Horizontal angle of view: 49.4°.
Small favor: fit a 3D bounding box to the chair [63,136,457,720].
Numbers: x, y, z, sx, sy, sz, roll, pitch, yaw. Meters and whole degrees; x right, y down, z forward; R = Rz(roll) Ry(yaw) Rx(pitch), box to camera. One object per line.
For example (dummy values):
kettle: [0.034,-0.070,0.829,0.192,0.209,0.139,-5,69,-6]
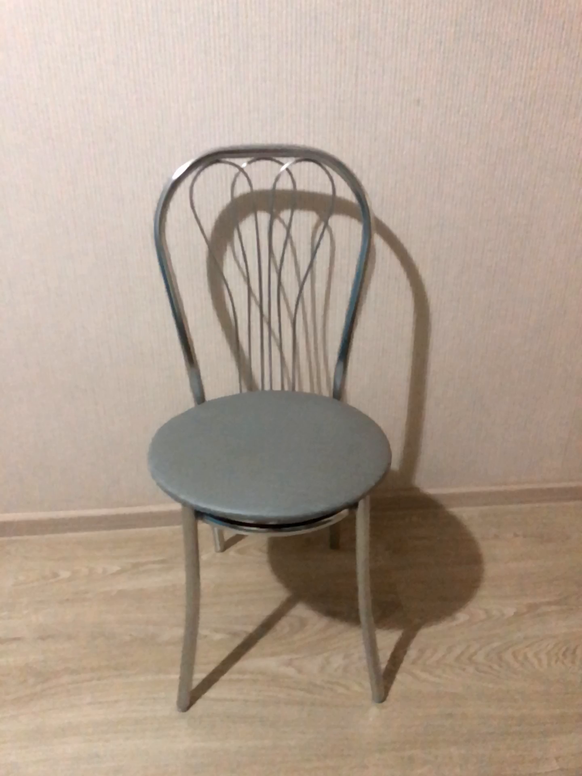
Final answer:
chair: [-0.036,0.053,1.039,0.400,0.825,0.473,0,27,-1]
